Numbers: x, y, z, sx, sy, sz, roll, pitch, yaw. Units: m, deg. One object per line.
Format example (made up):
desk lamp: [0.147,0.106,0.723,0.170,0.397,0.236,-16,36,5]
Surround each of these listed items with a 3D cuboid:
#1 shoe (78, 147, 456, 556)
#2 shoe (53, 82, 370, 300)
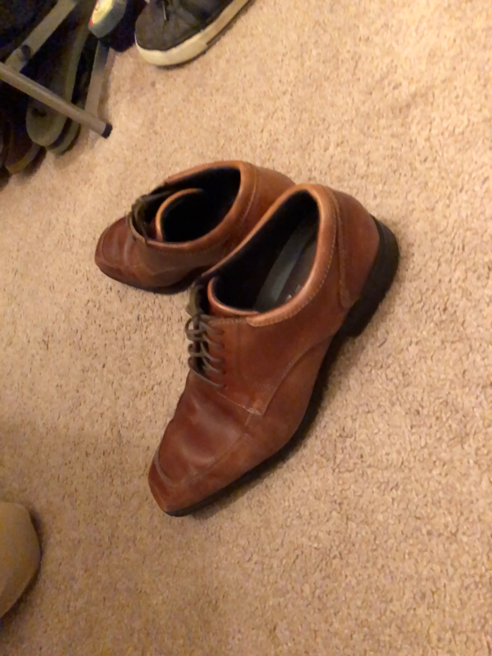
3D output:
shoe: [0.006,0.032,0.424,0.300,0.110,0.100,-54,48,14]
shoe: [-0.047,-0.110,0.537,0.301,0.120,0.120,-1,75,42]
